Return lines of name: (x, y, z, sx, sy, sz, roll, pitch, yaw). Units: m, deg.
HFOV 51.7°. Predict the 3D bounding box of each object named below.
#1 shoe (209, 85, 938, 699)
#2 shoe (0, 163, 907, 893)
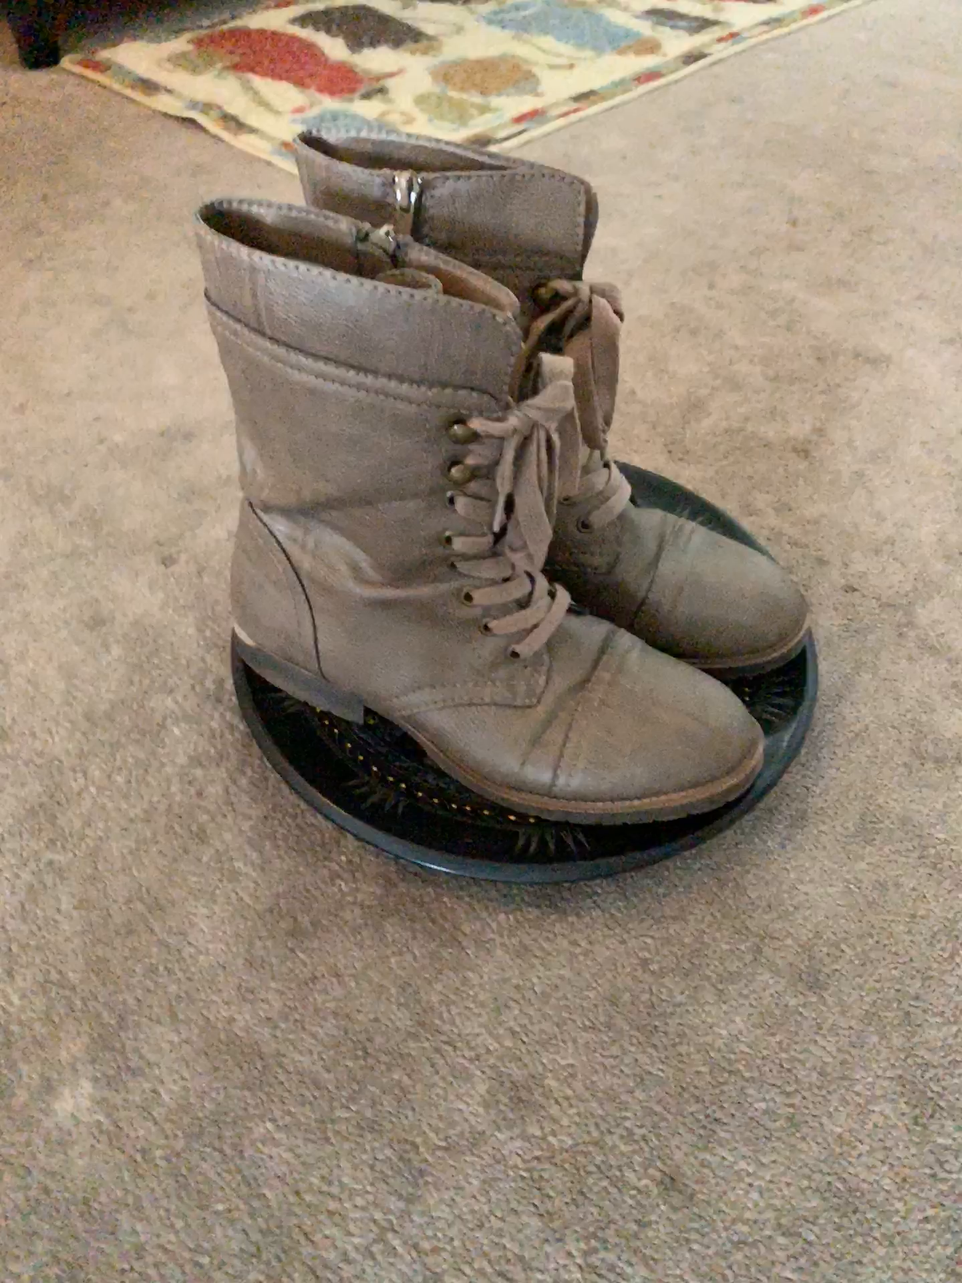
shoe: (0.035, -0.113, 0.451, 0.260, 0.198, 0.101, 17, 49, 17)
shoe: (-0.011, -0.044, 0.383, 0.270, 0.198, 0.101, 17, 49, 17)
